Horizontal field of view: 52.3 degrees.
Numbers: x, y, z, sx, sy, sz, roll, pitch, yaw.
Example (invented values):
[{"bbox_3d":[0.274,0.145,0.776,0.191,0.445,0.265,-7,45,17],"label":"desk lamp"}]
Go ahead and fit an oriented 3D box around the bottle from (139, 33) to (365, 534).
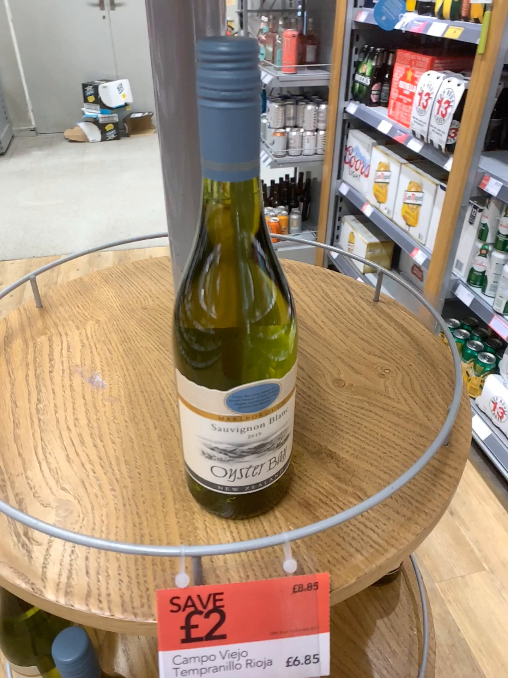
[{"bbox_3d":[-0.006,-0.015,0.311,0.080,0.284,0.081,0,34,0],"label":"bottle"}]
